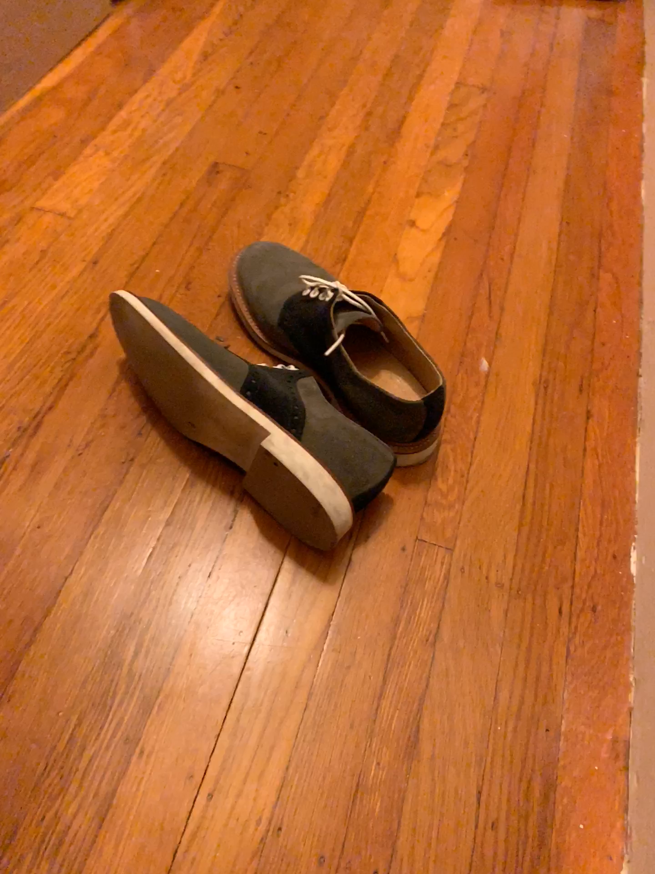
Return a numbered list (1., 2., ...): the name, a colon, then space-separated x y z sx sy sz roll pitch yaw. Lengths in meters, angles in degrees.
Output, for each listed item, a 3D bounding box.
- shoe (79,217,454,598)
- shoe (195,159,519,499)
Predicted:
1. shoe: -0.064 -0.035 0.583 0.120 0.130 0.311 -36 66 -29
2. shoe: 0.010 -0.113 0.624 0.130 0.100 0.311 -25 61 -22
